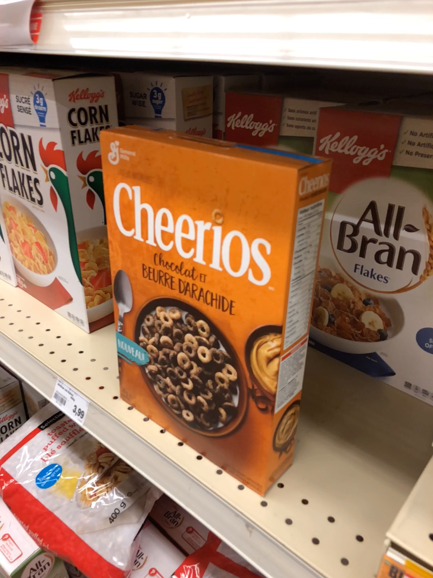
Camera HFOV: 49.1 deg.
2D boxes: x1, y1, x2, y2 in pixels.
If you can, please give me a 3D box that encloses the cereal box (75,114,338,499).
[{"bbox_3d":[-0.021,0.008,0.400,0.211,0.268,0.050,23,34,36],"label":"cereal box"}]
